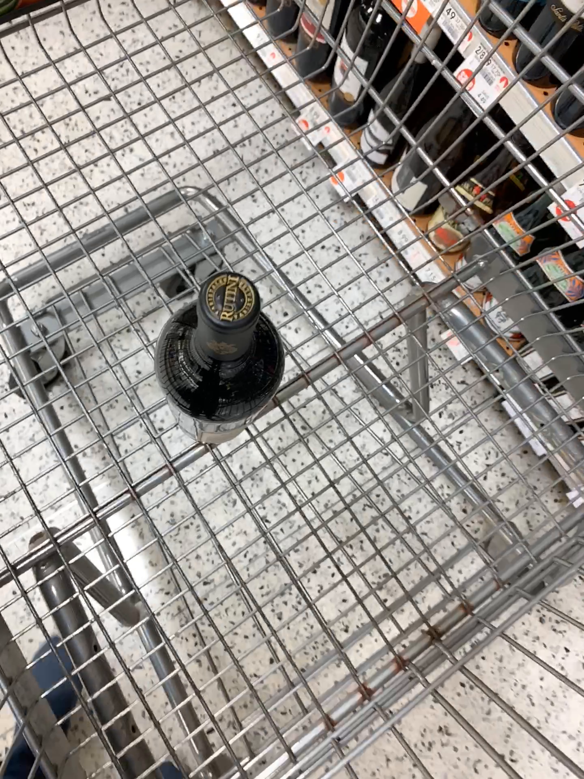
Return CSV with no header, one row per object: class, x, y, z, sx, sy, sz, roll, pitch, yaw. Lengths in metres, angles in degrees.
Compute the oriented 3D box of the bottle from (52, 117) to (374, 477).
bottle,-0.049,-0.021,0.389,0.090,0.299,0.100,-33,84,-13
